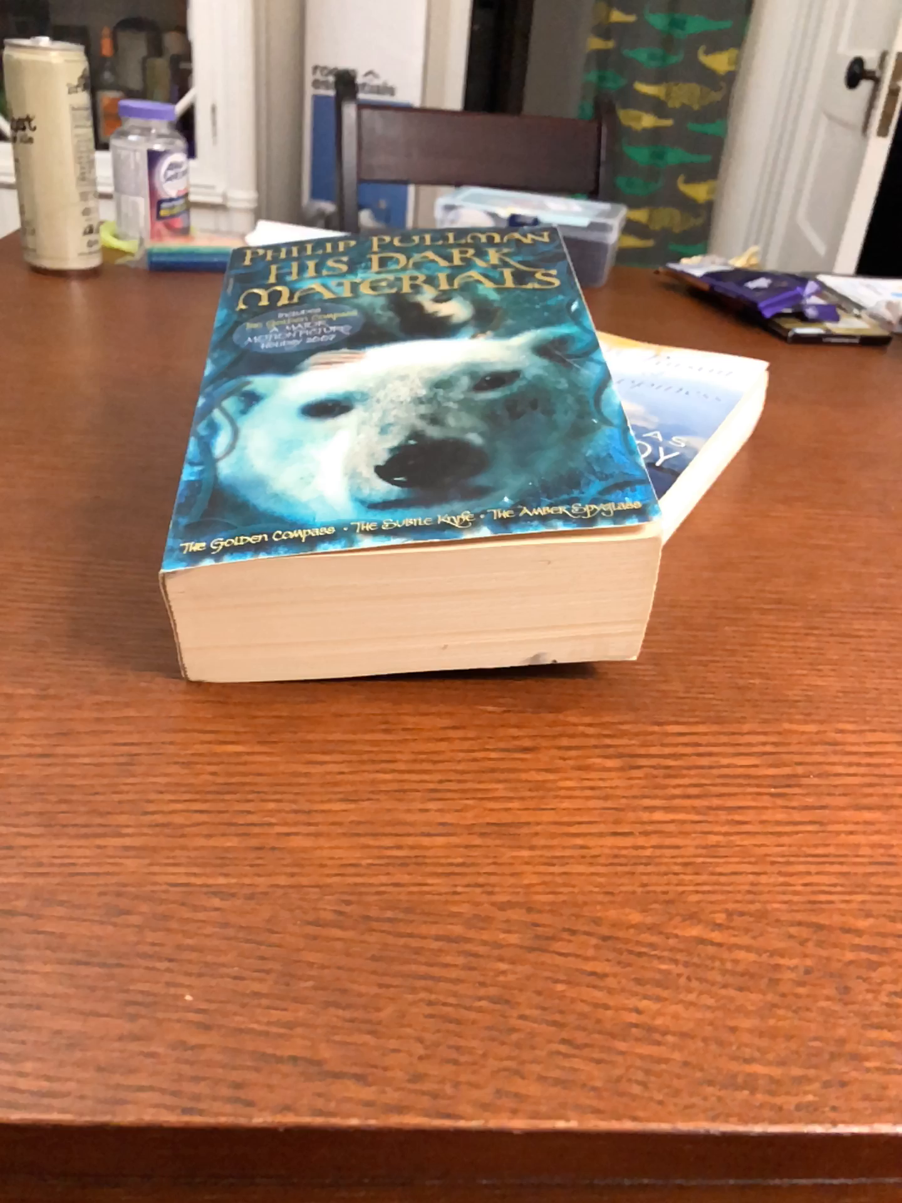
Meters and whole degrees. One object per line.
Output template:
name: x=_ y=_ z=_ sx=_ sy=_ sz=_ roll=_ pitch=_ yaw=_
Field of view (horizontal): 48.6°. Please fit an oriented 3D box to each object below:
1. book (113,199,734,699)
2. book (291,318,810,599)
book: x=-0.017 y=-0.077 z=0.382 sx=0.170 sy=0.060 sz=0.242 roll=-2 pitch=43 yaw=-5
book: x=0.063 y=-0.089 z=0.506 sx=0.170 sy=0.040 sz=0.241 roll=14 pitch=33 yaw=27
